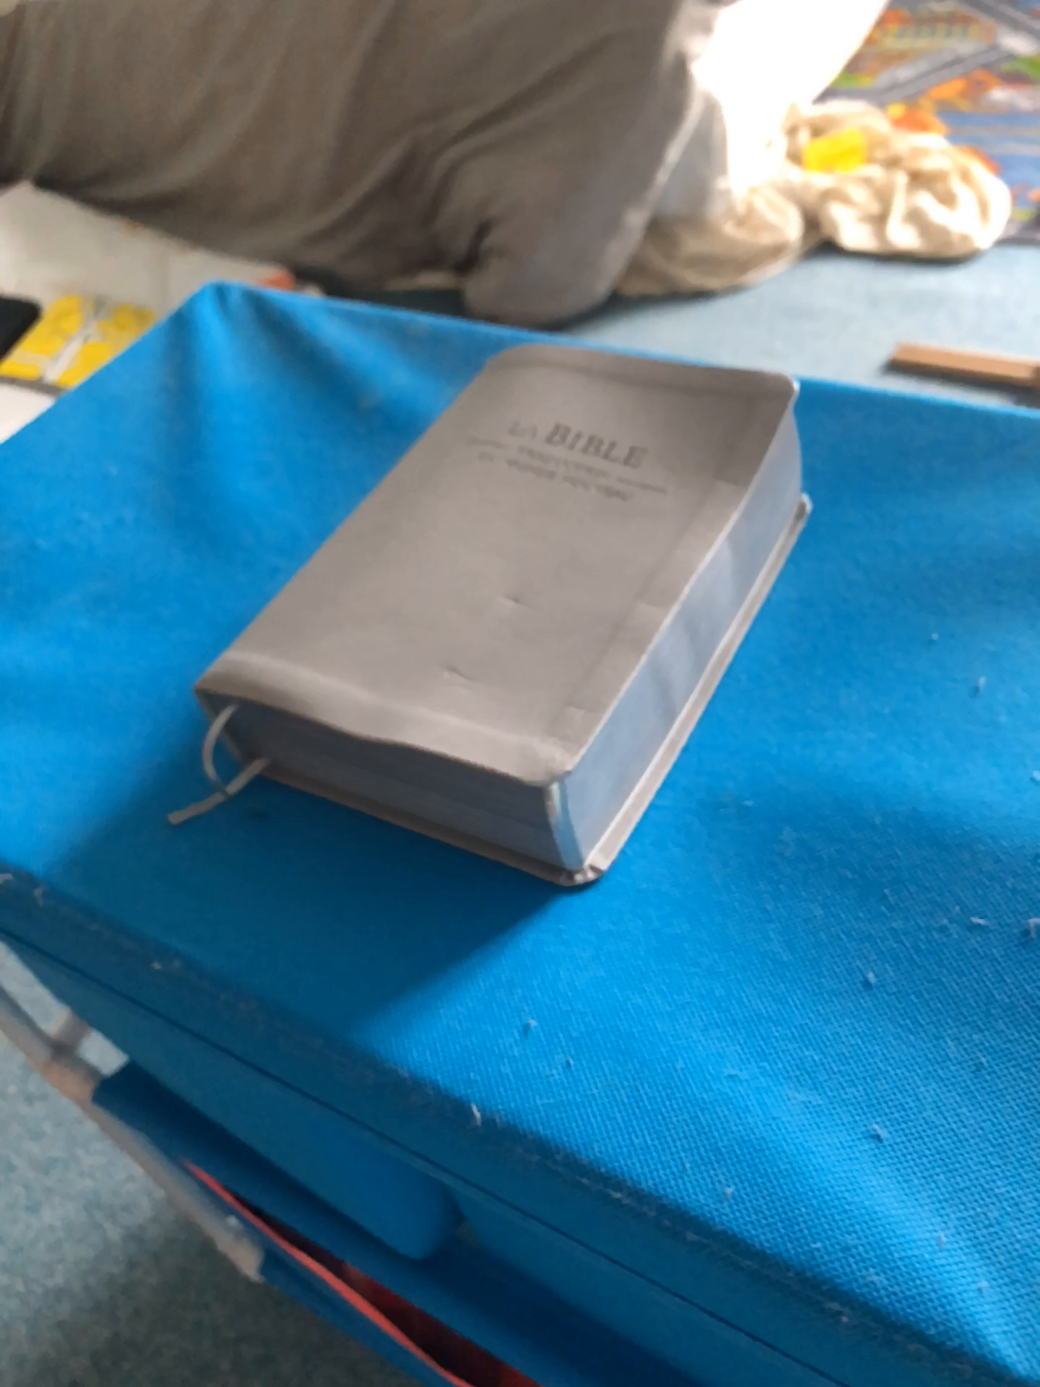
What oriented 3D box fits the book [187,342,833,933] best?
[{"bbox_3d":[0.007,-0.032,0.364,0.121,0.051,0.181,15,54,28],"label":"book"}]
